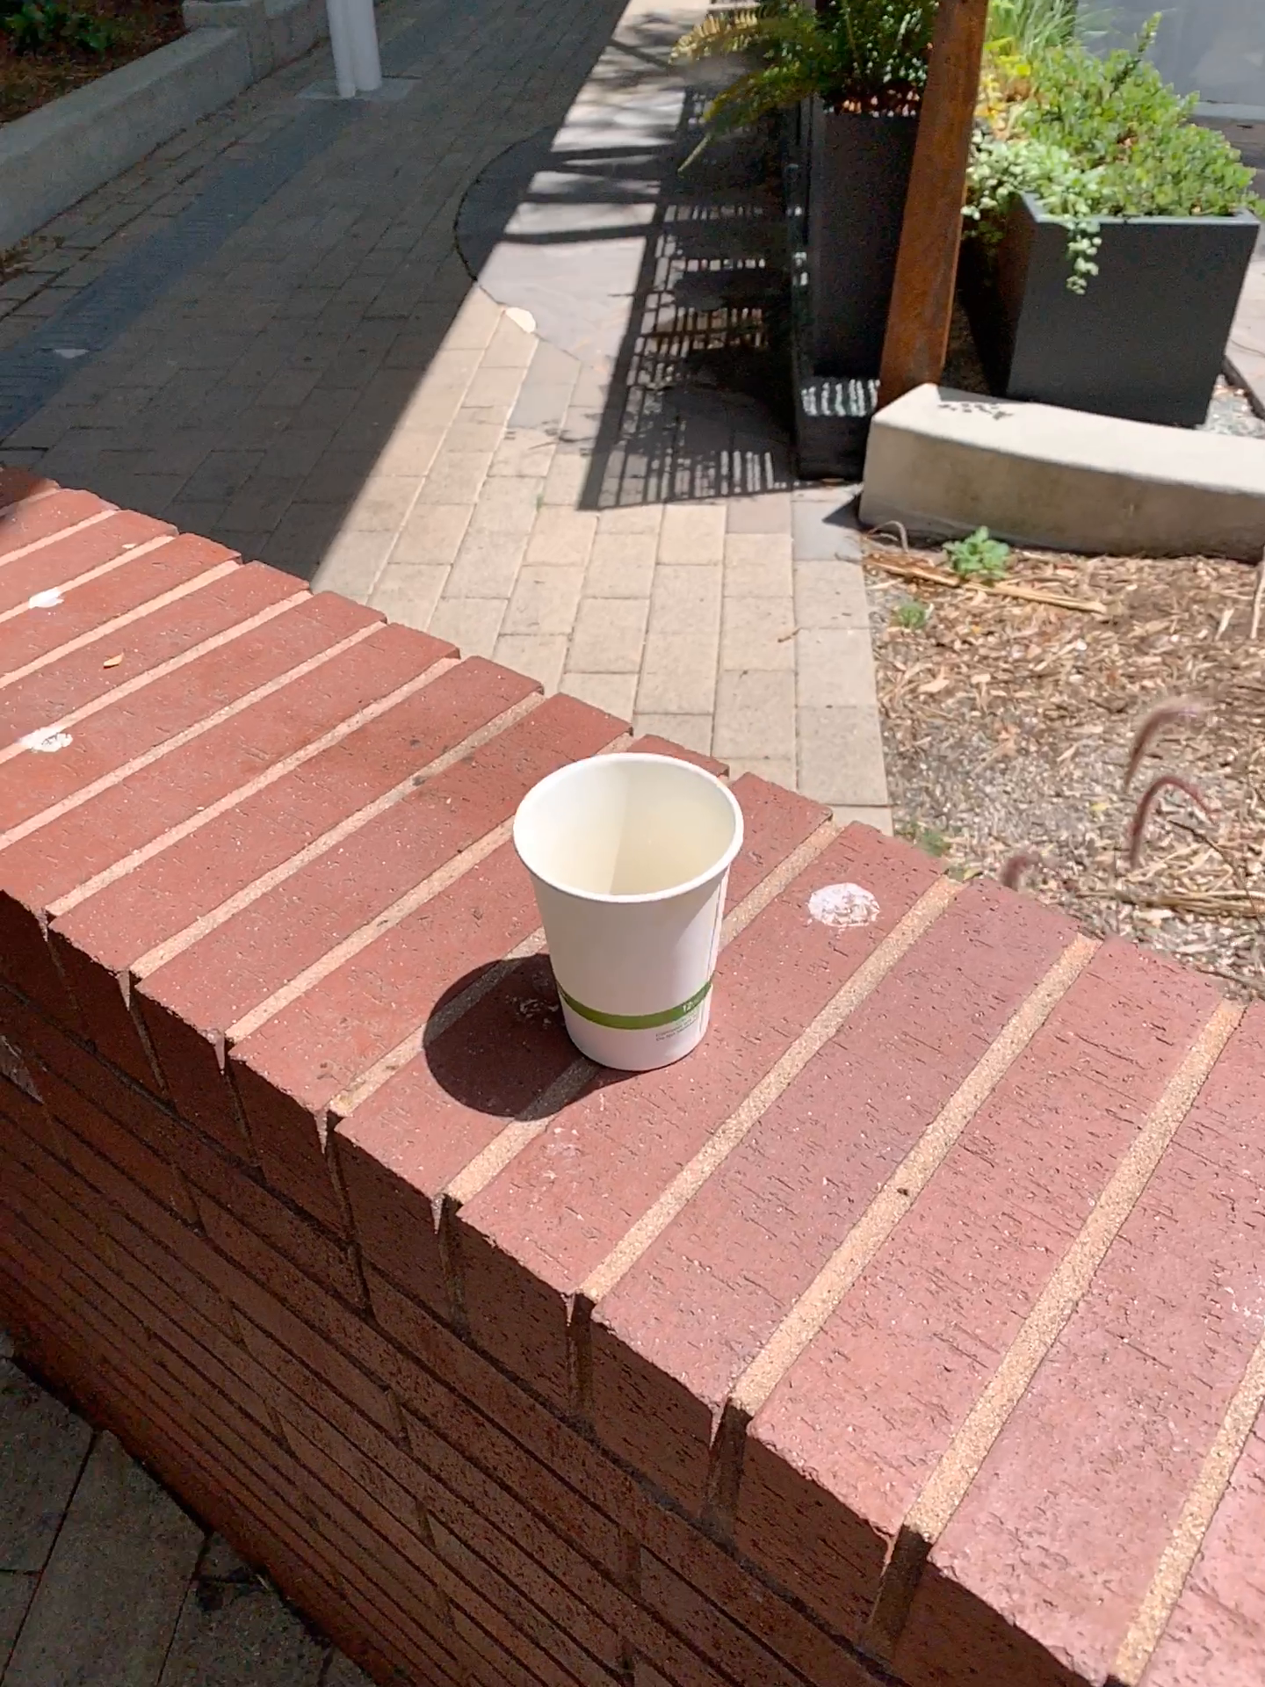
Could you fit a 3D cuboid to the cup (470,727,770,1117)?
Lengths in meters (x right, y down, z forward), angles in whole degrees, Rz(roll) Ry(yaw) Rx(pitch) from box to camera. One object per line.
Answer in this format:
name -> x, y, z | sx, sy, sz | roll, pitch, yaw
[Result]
cup -> -0.001, 0.030, 0.520 | 0.090, 0.109, 0.090 | -1, 40, 0
